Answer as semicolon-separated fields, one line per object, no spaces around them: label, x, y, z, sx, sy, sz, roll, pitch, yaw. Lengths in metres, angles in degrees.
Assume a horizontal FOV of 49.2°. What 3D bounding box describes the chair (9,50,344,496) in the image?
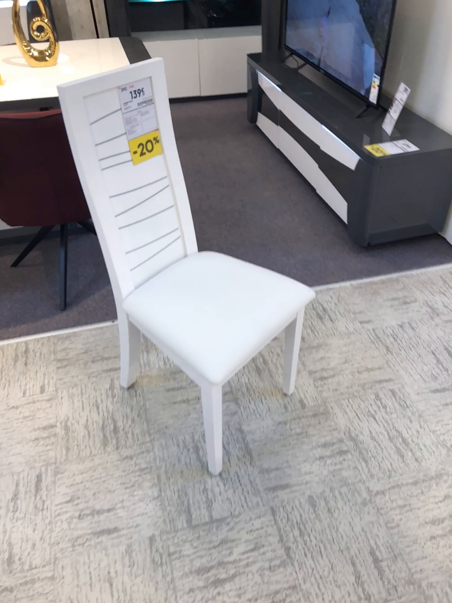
chair;-0.100;-0.054;1.355;0.540;1.004;0.452;28;47;30
